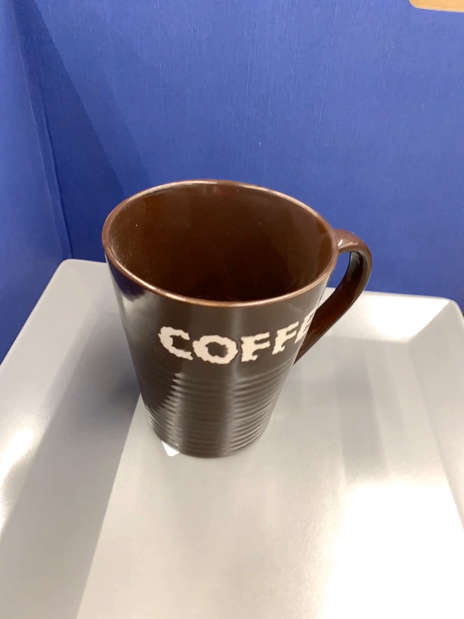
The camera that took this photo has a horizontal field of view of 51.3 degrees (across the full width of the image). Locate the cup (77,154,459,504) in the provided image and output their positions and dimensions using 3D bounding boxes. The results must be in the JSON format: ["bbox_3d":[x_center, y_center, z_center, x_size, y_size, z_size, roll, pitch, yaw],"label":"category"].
[{"bbox_3d":[0.010,0.000,0.227,0.128,0.098,0.089,-17,44,-25],"label":"cup"}]
